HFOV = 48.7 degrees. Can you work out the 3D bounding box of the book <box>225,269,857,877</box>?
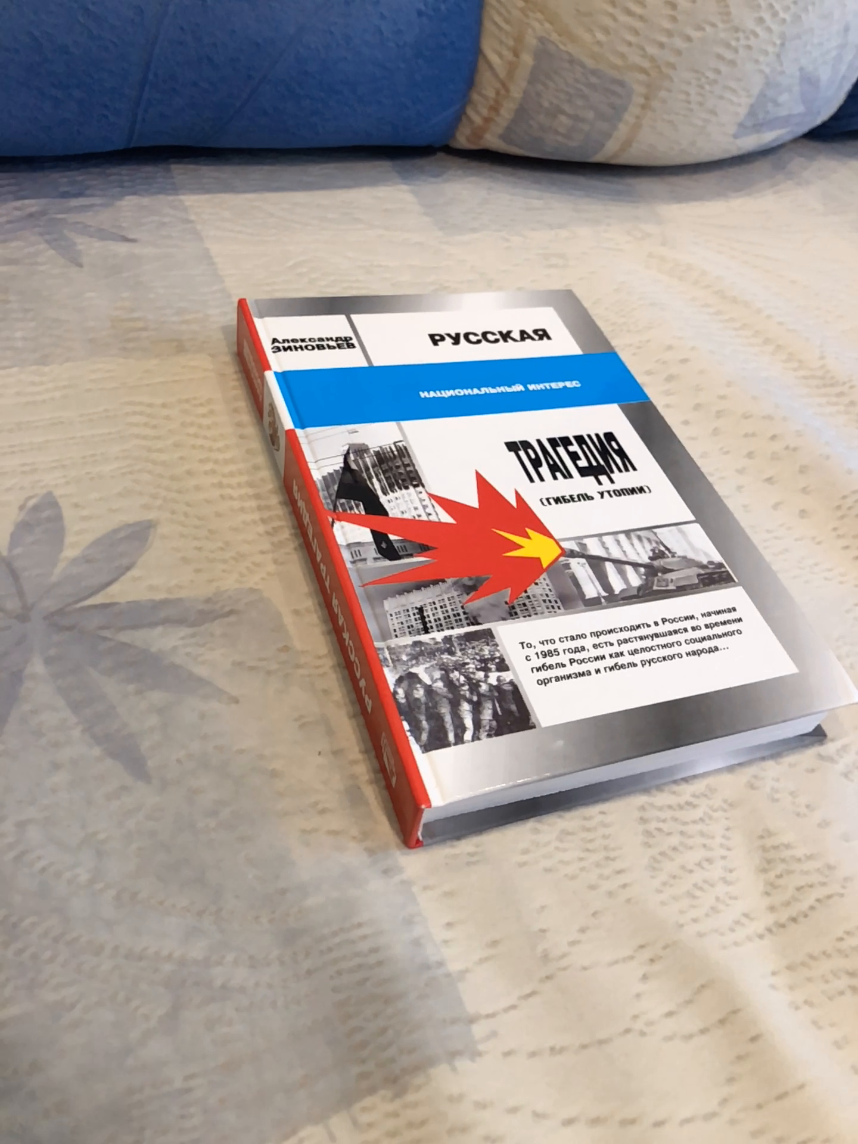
[{"bbox_3d":[0.032,-0.022,0.313,0.160,0.040,0.201,-9,52,-19],"label":"book"}]
